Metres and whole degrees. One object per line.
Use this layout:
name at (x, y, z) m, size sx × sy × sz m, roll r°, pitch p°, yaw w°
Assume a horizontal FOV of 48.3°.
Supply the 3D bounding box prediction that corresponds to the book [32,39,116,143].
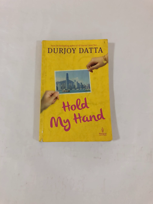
book at (-0.005, -0.023, 0.314) m, size 0.140 × 0.020 × 0.190 m, roll 0°, pitch 78°, yaw -2°
